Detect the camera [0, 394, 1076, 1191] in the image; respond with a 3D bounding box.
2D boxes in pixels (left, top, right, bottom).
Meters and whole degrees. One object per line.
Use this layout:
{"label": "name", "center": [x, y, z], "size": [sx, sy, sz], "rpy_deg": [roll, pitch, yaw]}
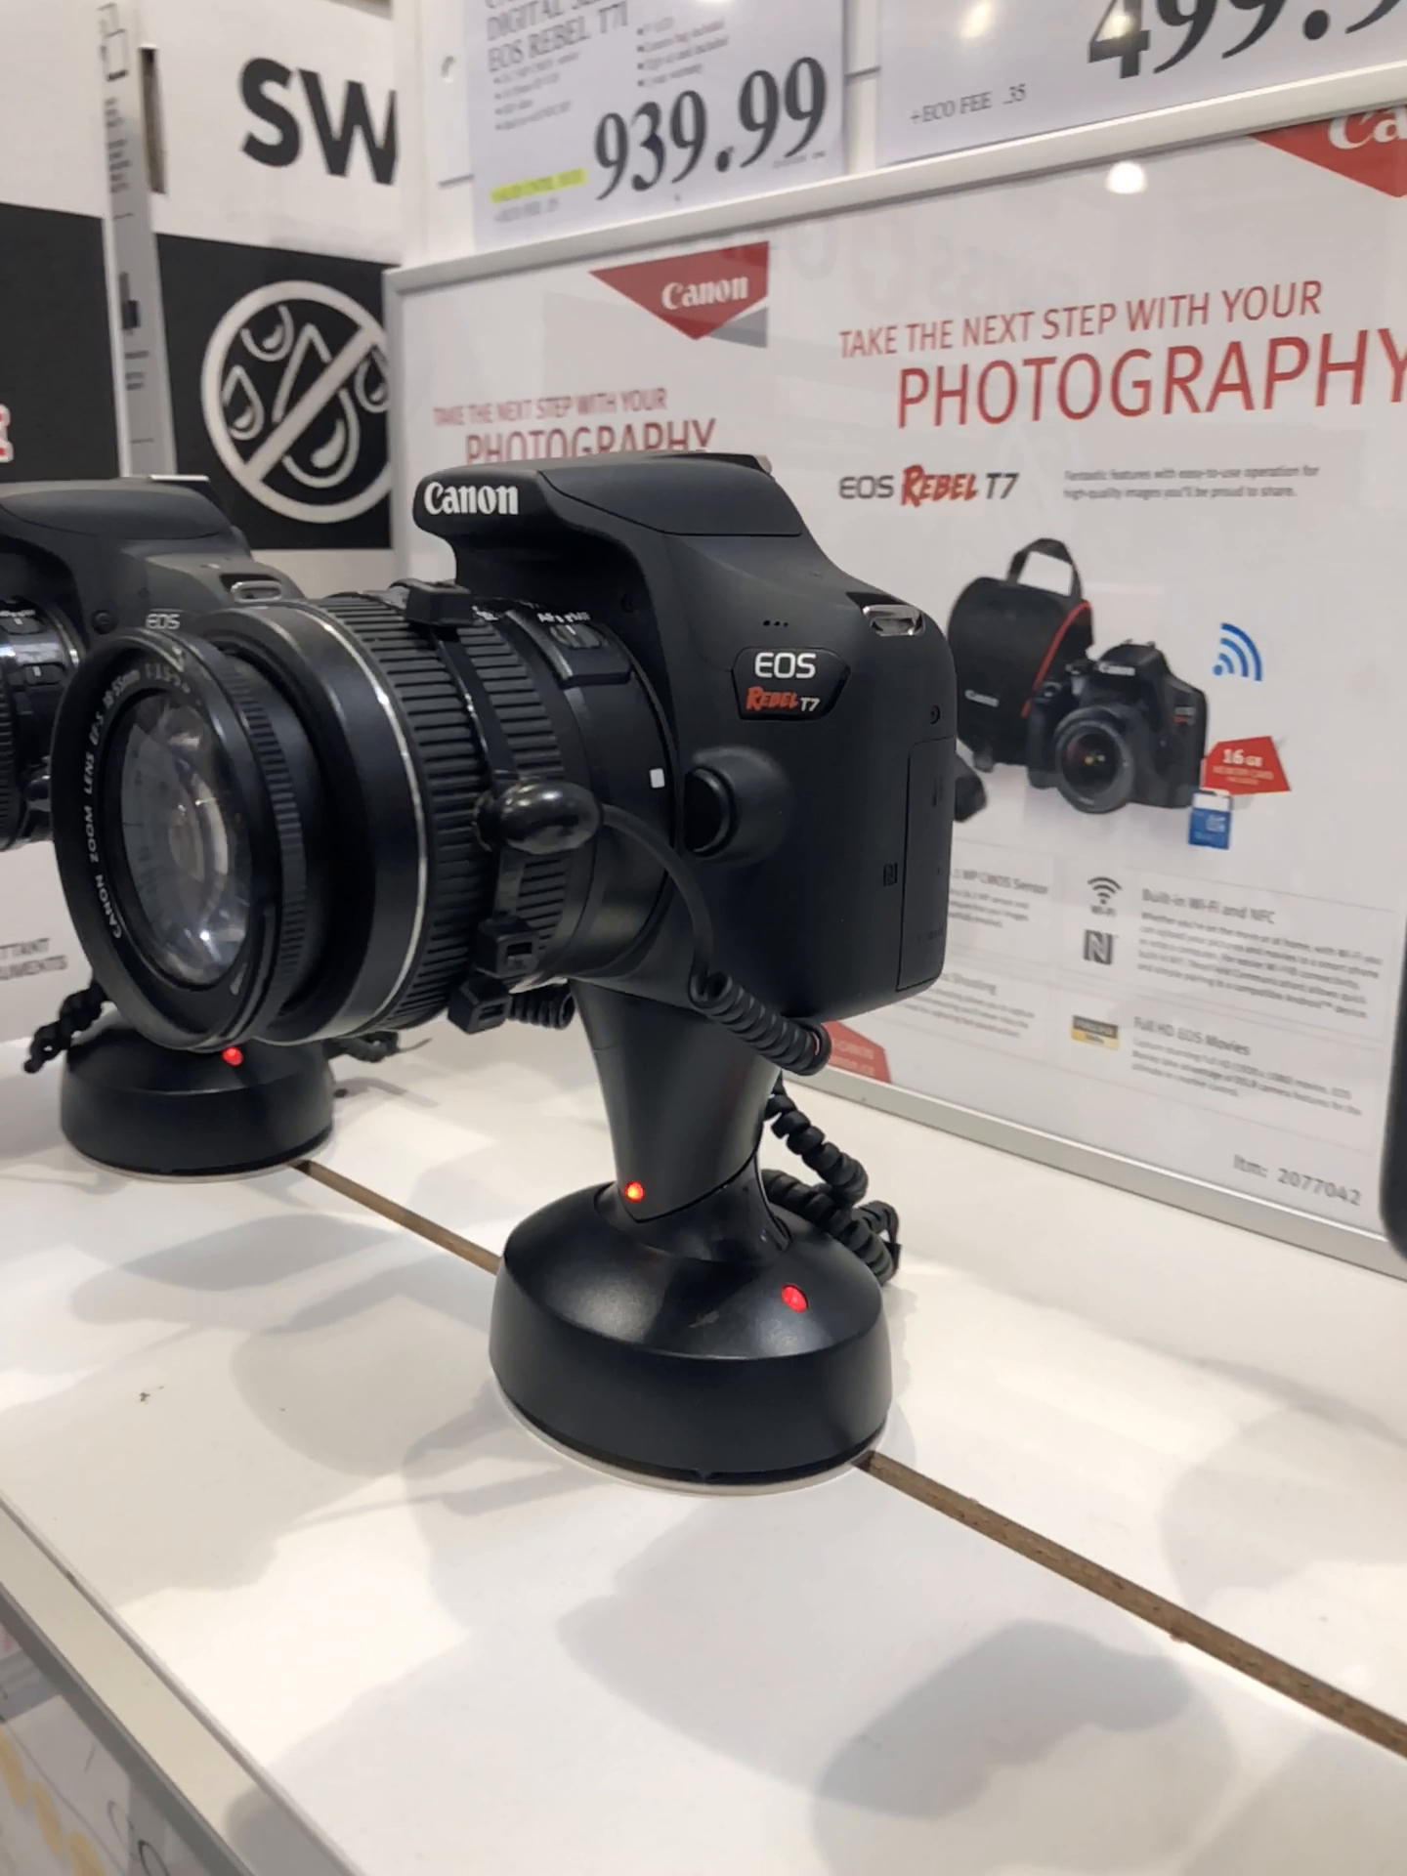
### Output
{"label": "camera", "center": [-0.030, -0.038, 0.286], "size": [0.140, 0.100, 0.130], "rpy_deg": [-12, 19, -42]}
